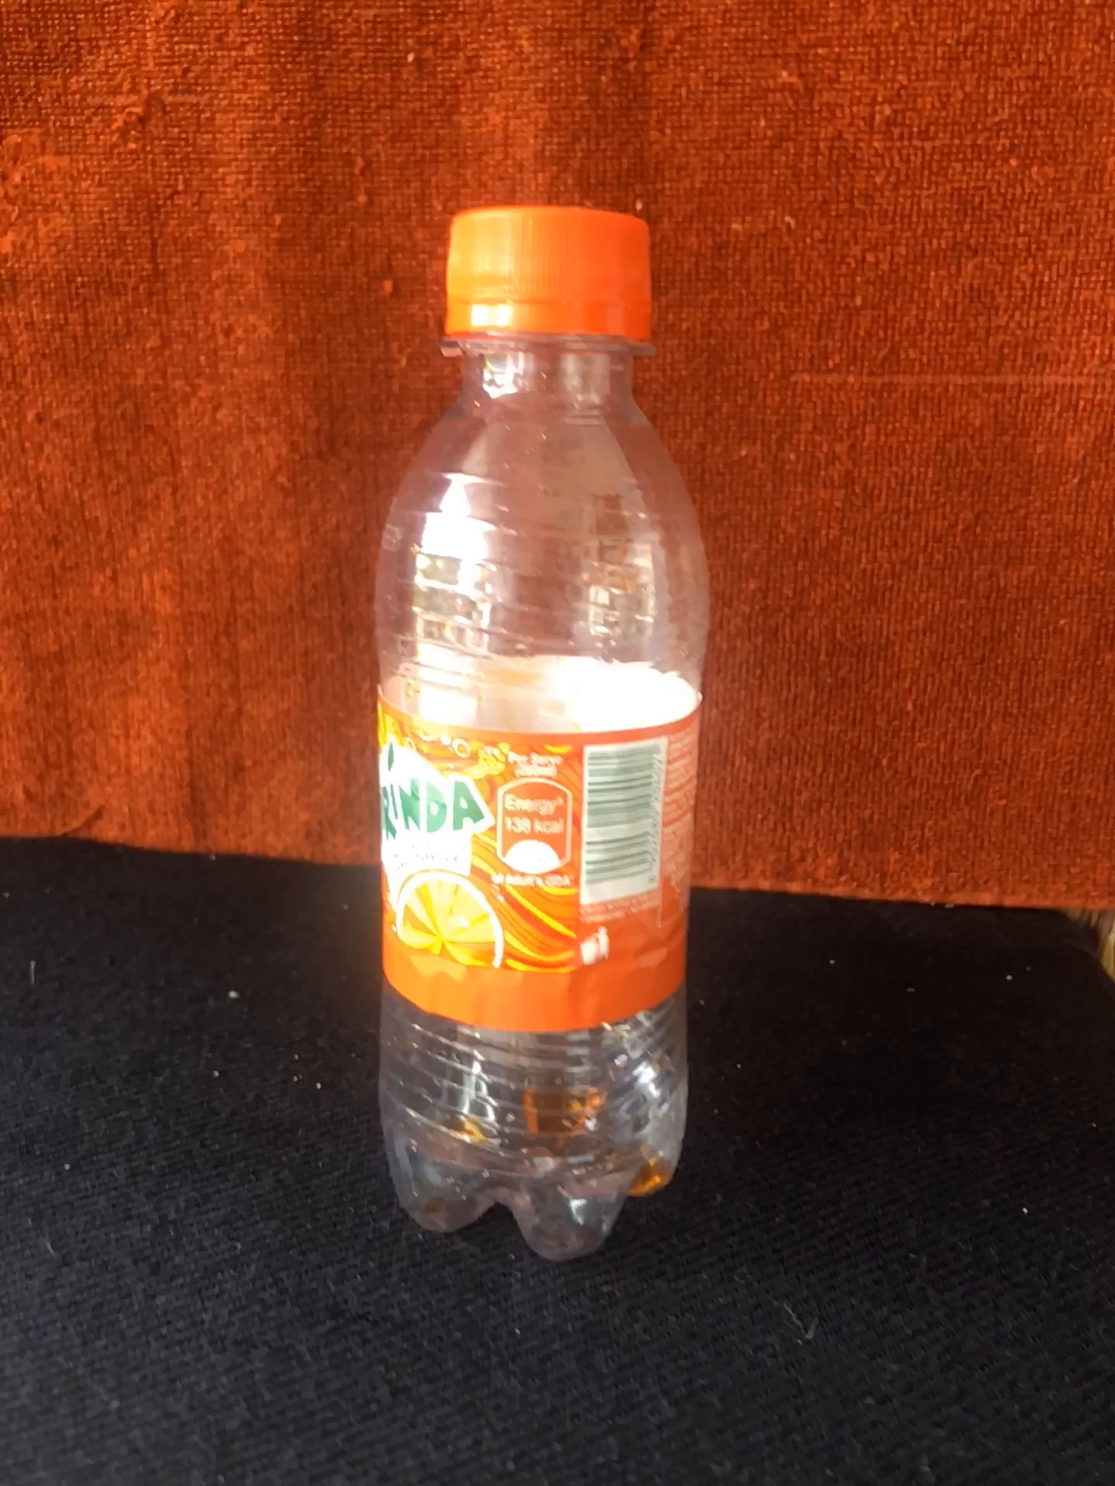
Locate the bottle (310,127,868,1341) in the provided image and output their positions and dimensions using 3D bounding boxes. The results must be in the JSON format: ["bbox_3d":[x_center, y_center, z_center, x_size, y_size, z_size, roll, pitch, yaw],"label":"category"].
[{"bbox_3d":[-0.002,-0.001,0.192,0.050,0.159,0.060,-9,22,-31],"label":"bottle"}]
